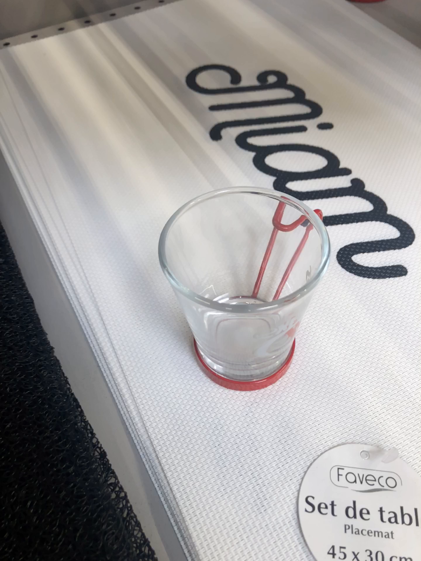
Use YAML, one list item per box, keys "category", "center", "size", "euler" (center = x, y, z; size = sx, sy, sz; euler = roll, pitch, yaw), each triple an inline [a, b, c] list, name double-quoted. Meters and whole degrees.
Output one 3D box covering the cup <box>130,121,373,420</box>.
- category: "cup"
  center: [0.022, -0.007, 0.192]
  size: [0.056, 0.063, 0.093]
  euler: [17, 54, 19]
